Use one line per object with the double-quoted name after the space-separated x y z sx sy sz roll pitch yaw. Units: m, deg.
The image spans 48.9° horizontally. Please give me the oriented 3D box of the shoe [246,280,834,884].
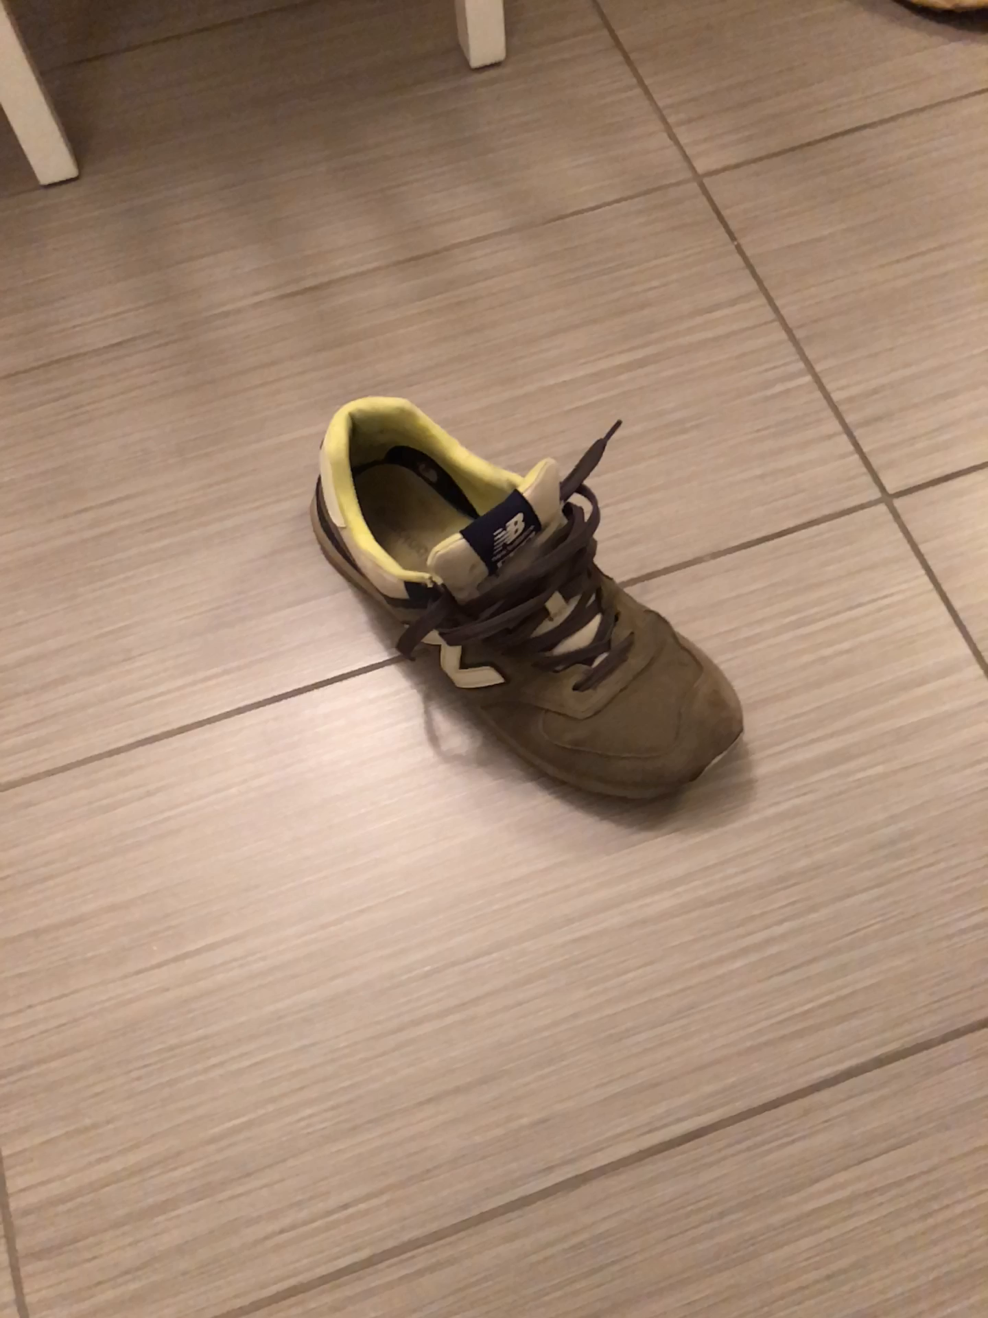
0.015 -0.048 0.602 0.130 0.110 0.310 -37 69 -13 "shoe"
